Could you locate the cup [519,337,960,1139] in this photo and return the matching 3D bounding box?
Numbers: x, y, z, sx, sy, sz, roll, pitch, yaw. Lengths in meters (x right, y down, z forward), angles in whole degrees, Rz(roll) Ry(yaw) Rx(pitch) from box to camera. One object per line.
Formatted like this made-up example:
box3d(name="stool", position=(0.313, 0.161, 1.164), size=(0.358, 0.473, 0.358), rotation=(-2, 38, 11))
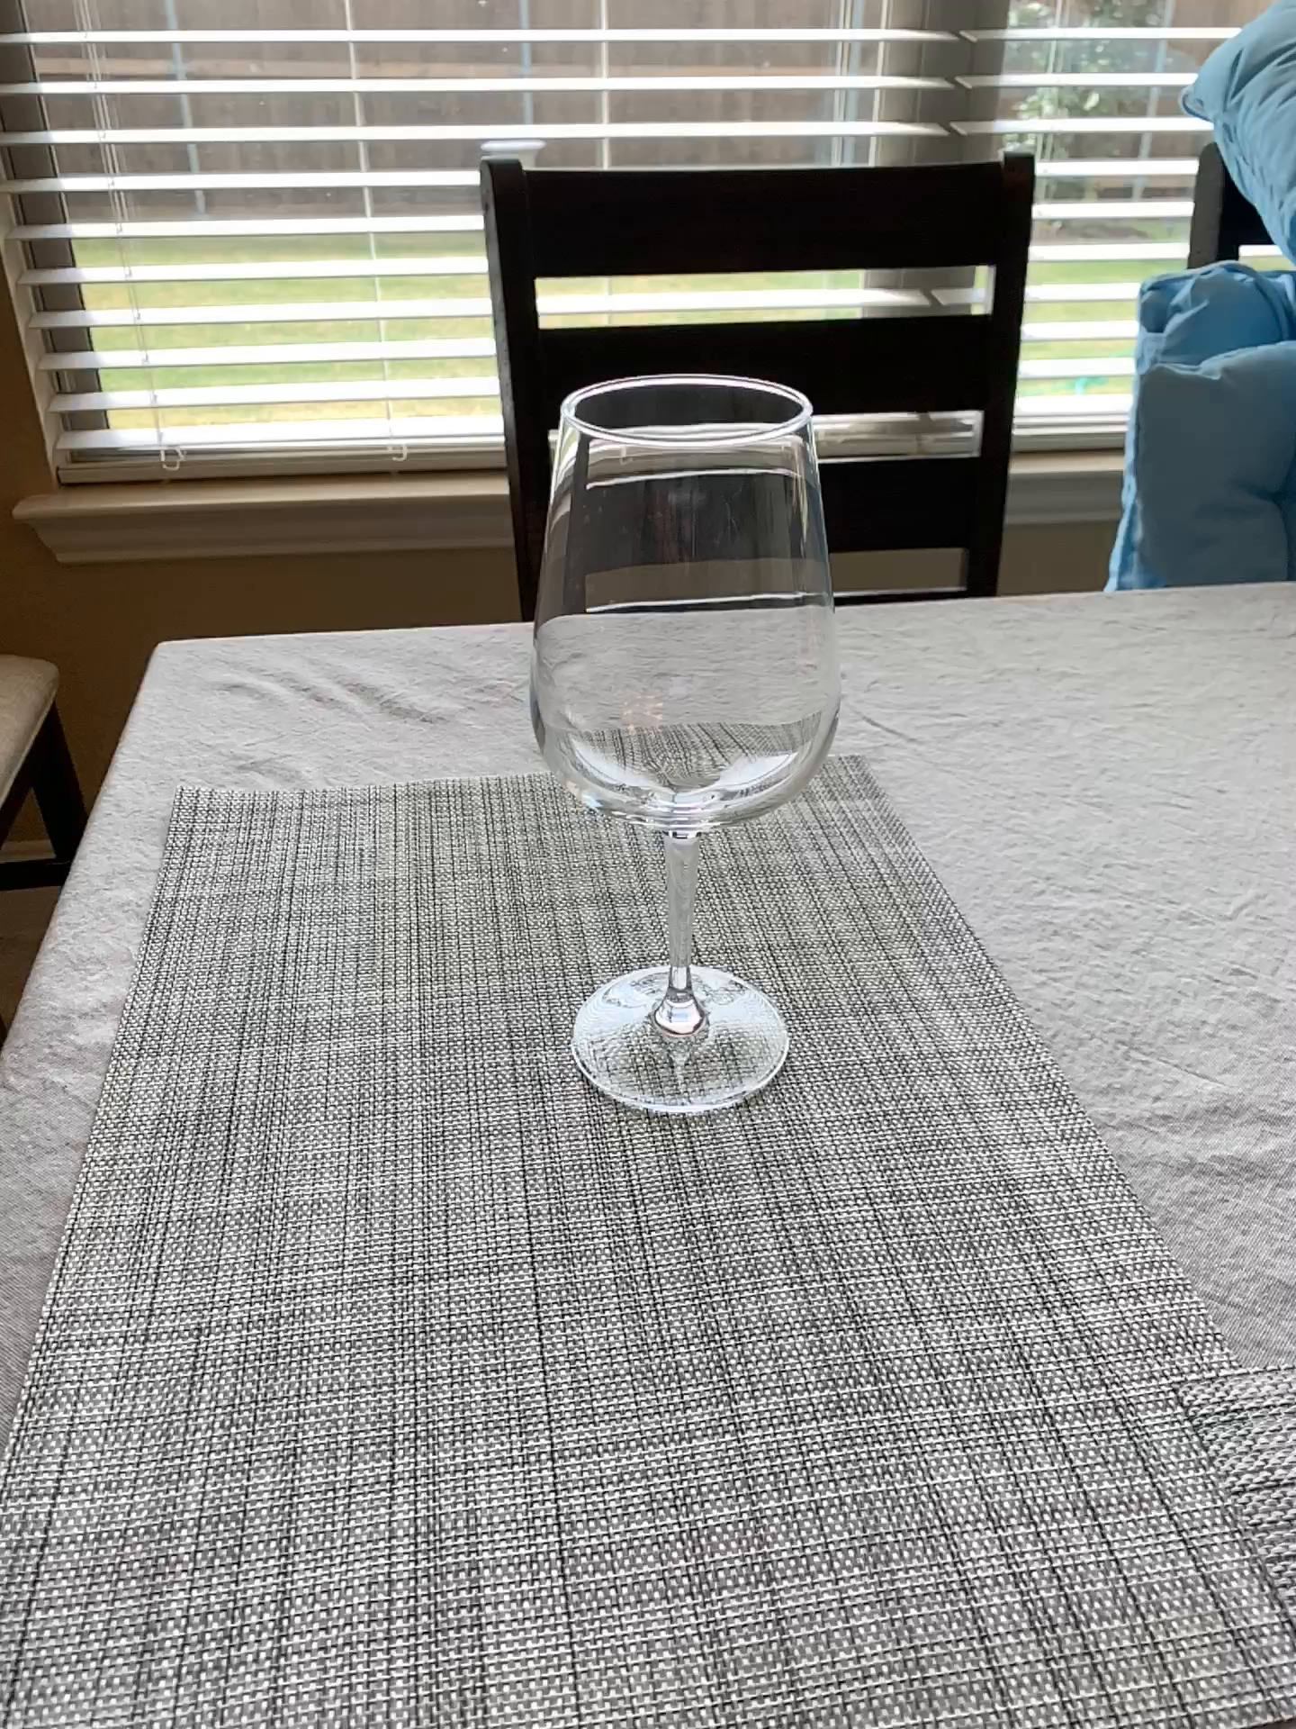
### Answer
box3d(name="cup", position=(0.017, -0.036, 0.407), size=(0.100, 0.214, 0.108), rotation=(0, 33, 0))
